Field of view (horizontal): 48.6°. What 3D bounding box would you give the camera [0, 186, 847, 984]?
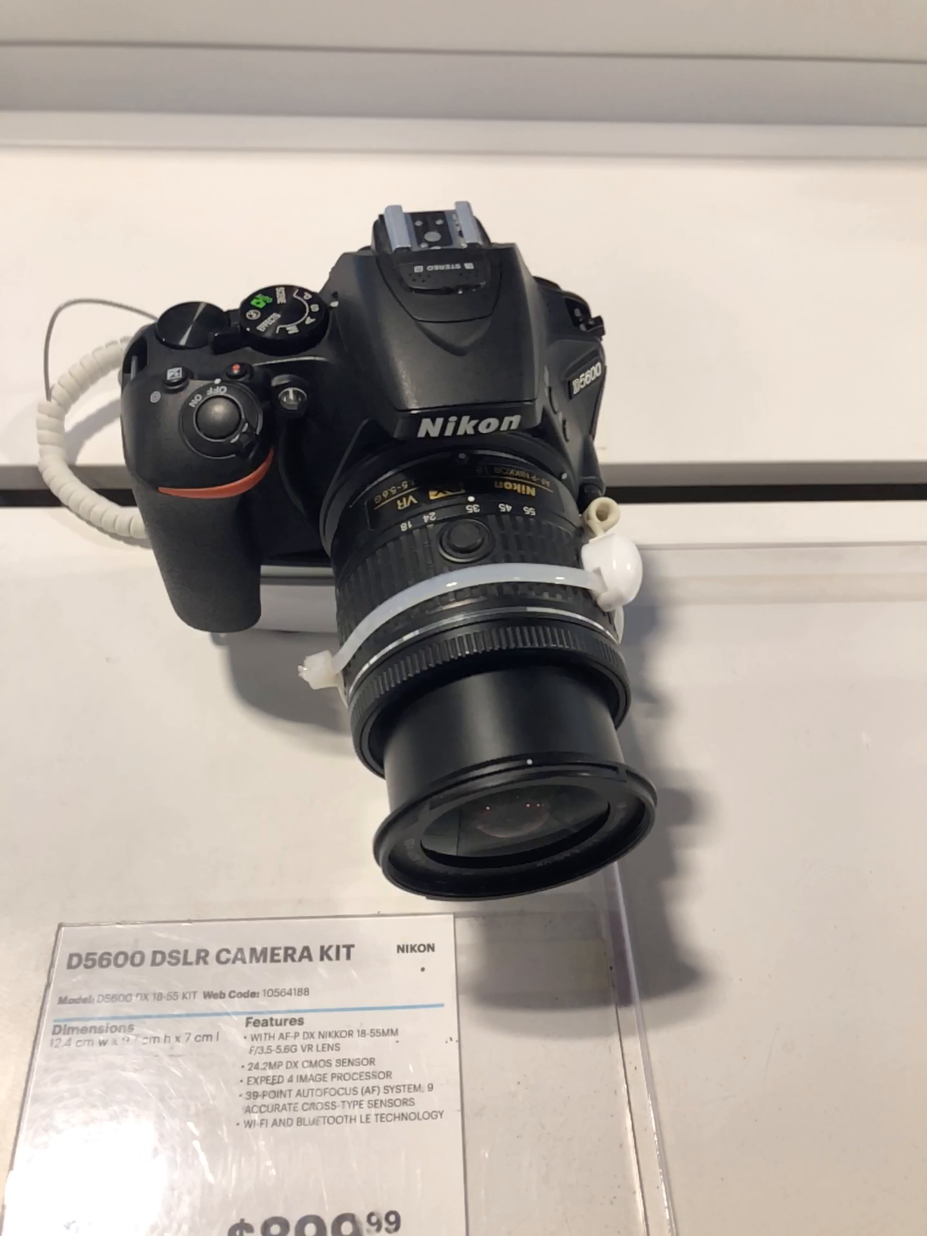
[{"bbox_3d":[-0.017,-0.013,0.230,0.130,0.090,0.141,-7,53,-7],"label":"camera"}]
